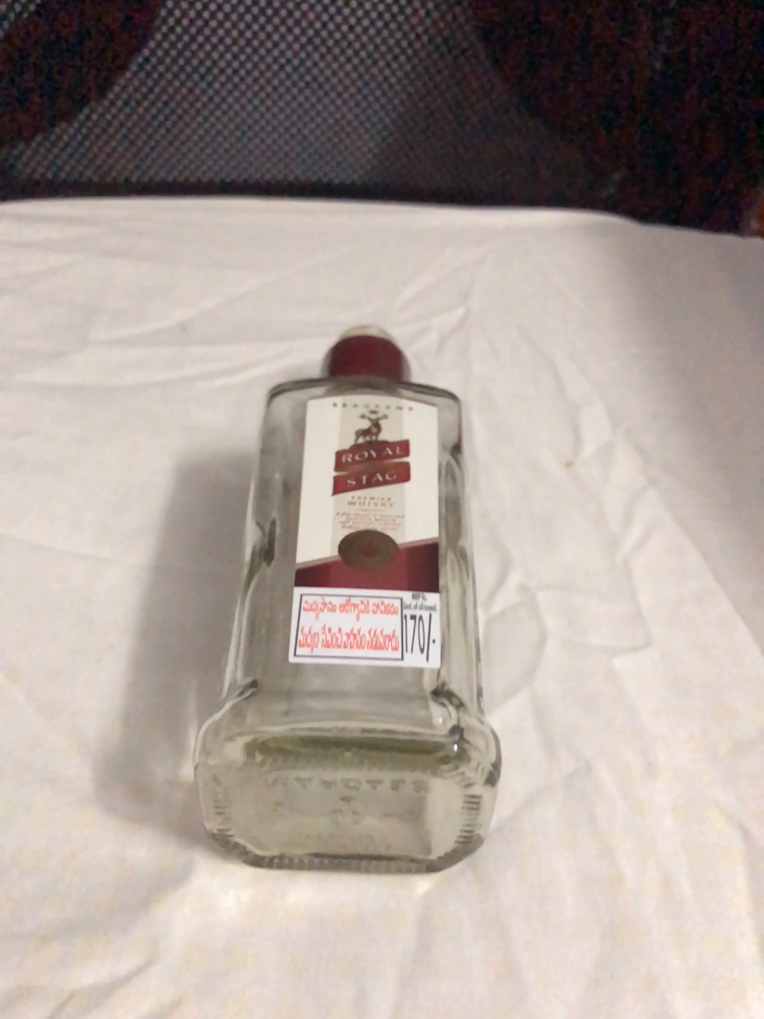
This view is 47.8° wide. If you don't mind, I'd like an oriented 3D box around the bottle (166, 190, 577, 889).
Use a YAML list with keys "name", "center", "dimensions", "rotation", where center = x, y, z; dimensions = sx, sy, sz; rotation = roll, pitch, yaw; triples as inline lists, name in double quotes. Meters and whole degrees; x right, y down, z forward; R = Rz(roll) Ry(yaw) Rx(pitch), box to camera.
- name: "bottle"
  center: [-0.002, -0.012, 0.208]
  dimensions: [0.060, 0.050, 0.181]
  rotation: [4, 44, -3]
